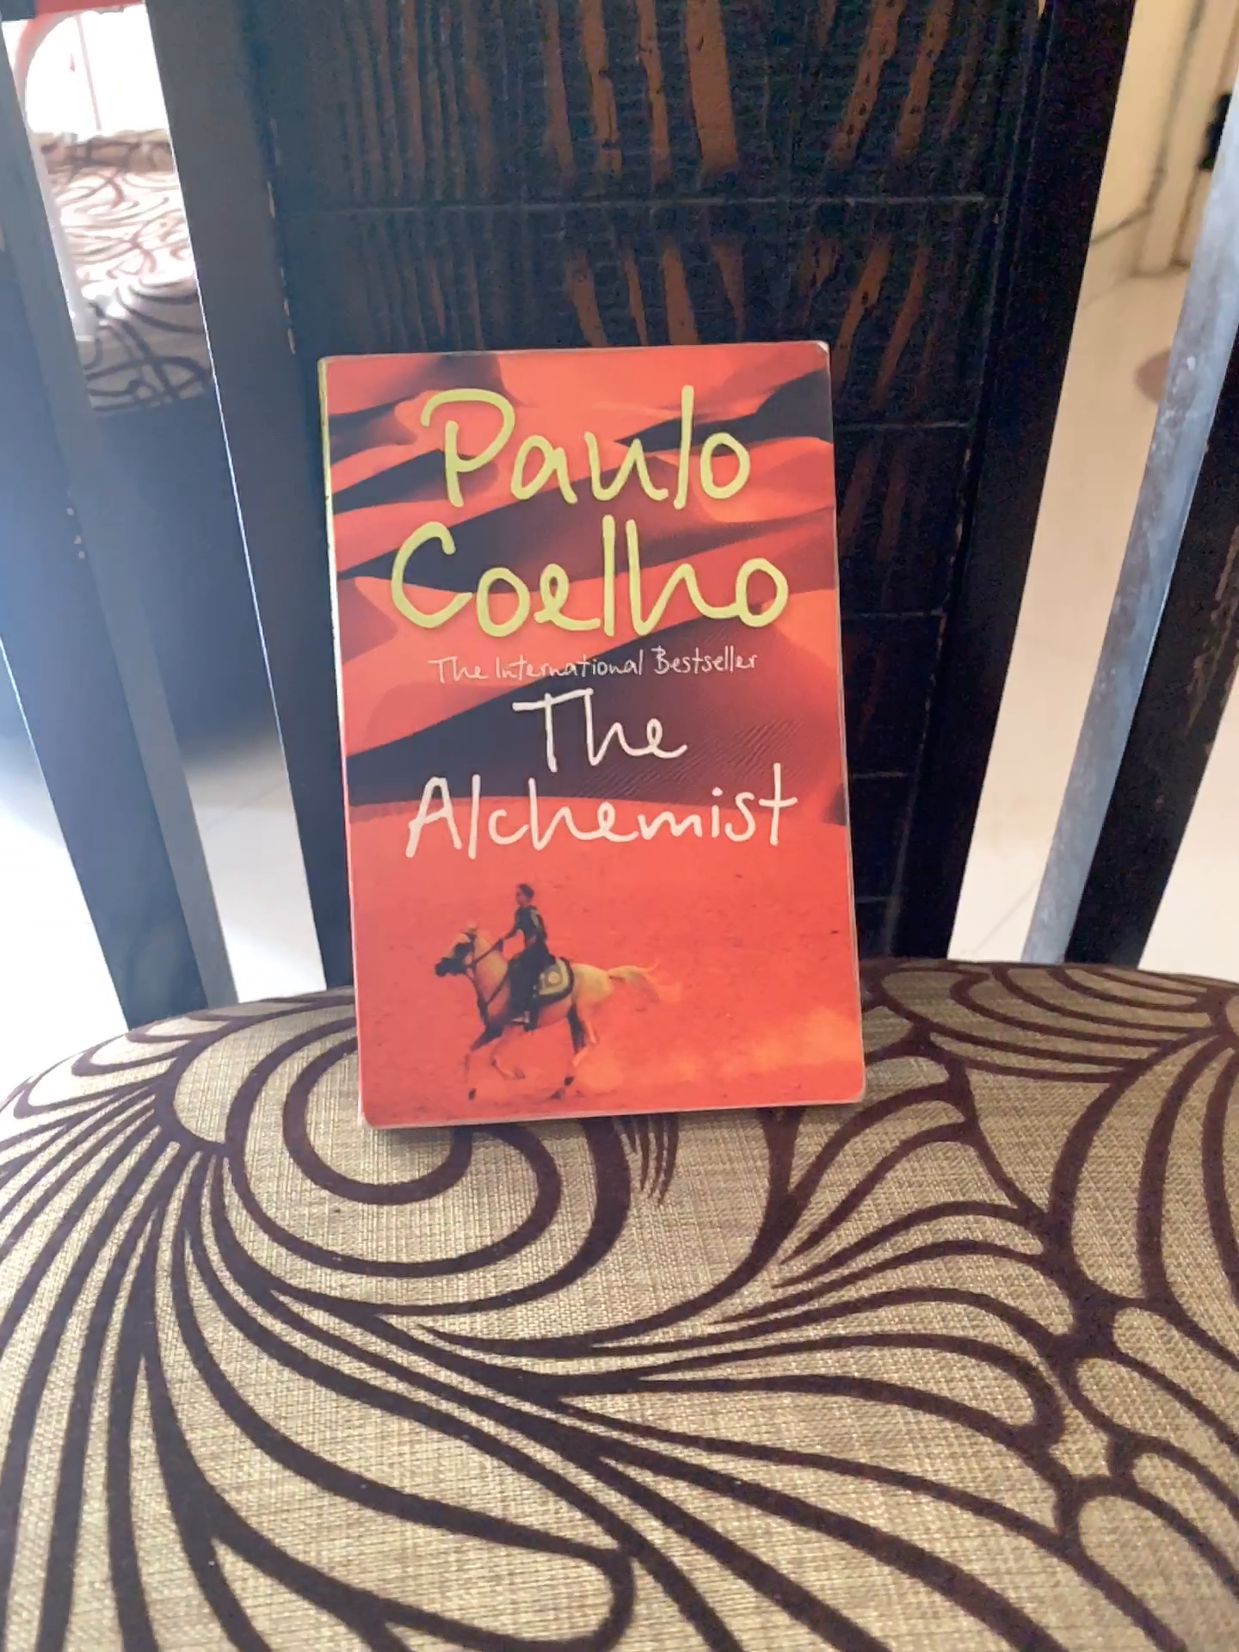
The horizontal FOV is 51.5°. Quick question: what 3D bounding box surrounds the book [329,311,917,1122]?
[{"bbox_3d":[0.000,-0.030,0.336,0.140,0.200,0.030,-2,-3,-3],"label":"book"}]
